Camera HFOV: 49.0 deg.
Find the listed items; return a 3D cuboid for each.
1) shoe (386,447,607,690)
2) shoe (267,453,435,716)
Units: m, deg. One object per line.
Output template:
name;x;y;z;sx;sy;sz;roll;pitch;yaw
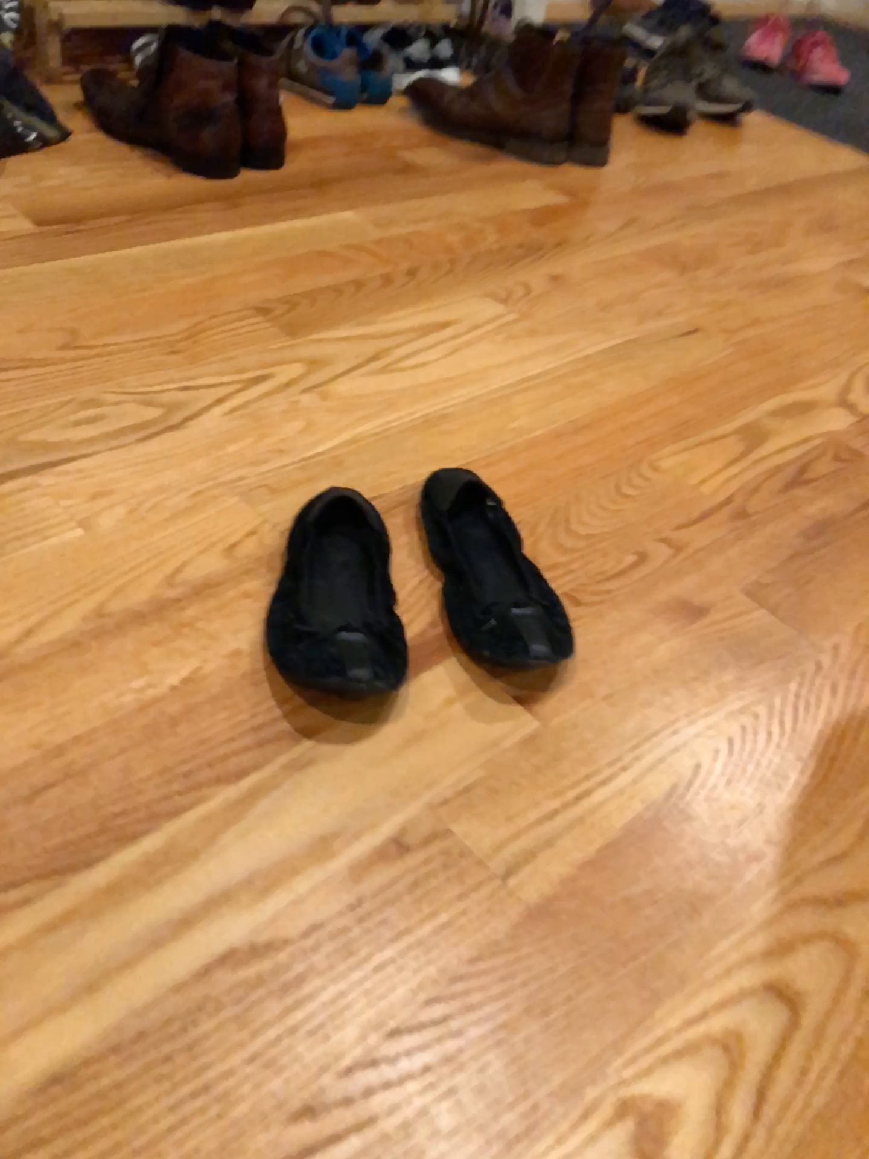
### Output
shoe;0.038;-0.018;0.726;0.093;0.046;0.221;-4;43;-19
shoe;-0.067;-0.004;0.682;0.100;0.050;0.221;3;41;-12
